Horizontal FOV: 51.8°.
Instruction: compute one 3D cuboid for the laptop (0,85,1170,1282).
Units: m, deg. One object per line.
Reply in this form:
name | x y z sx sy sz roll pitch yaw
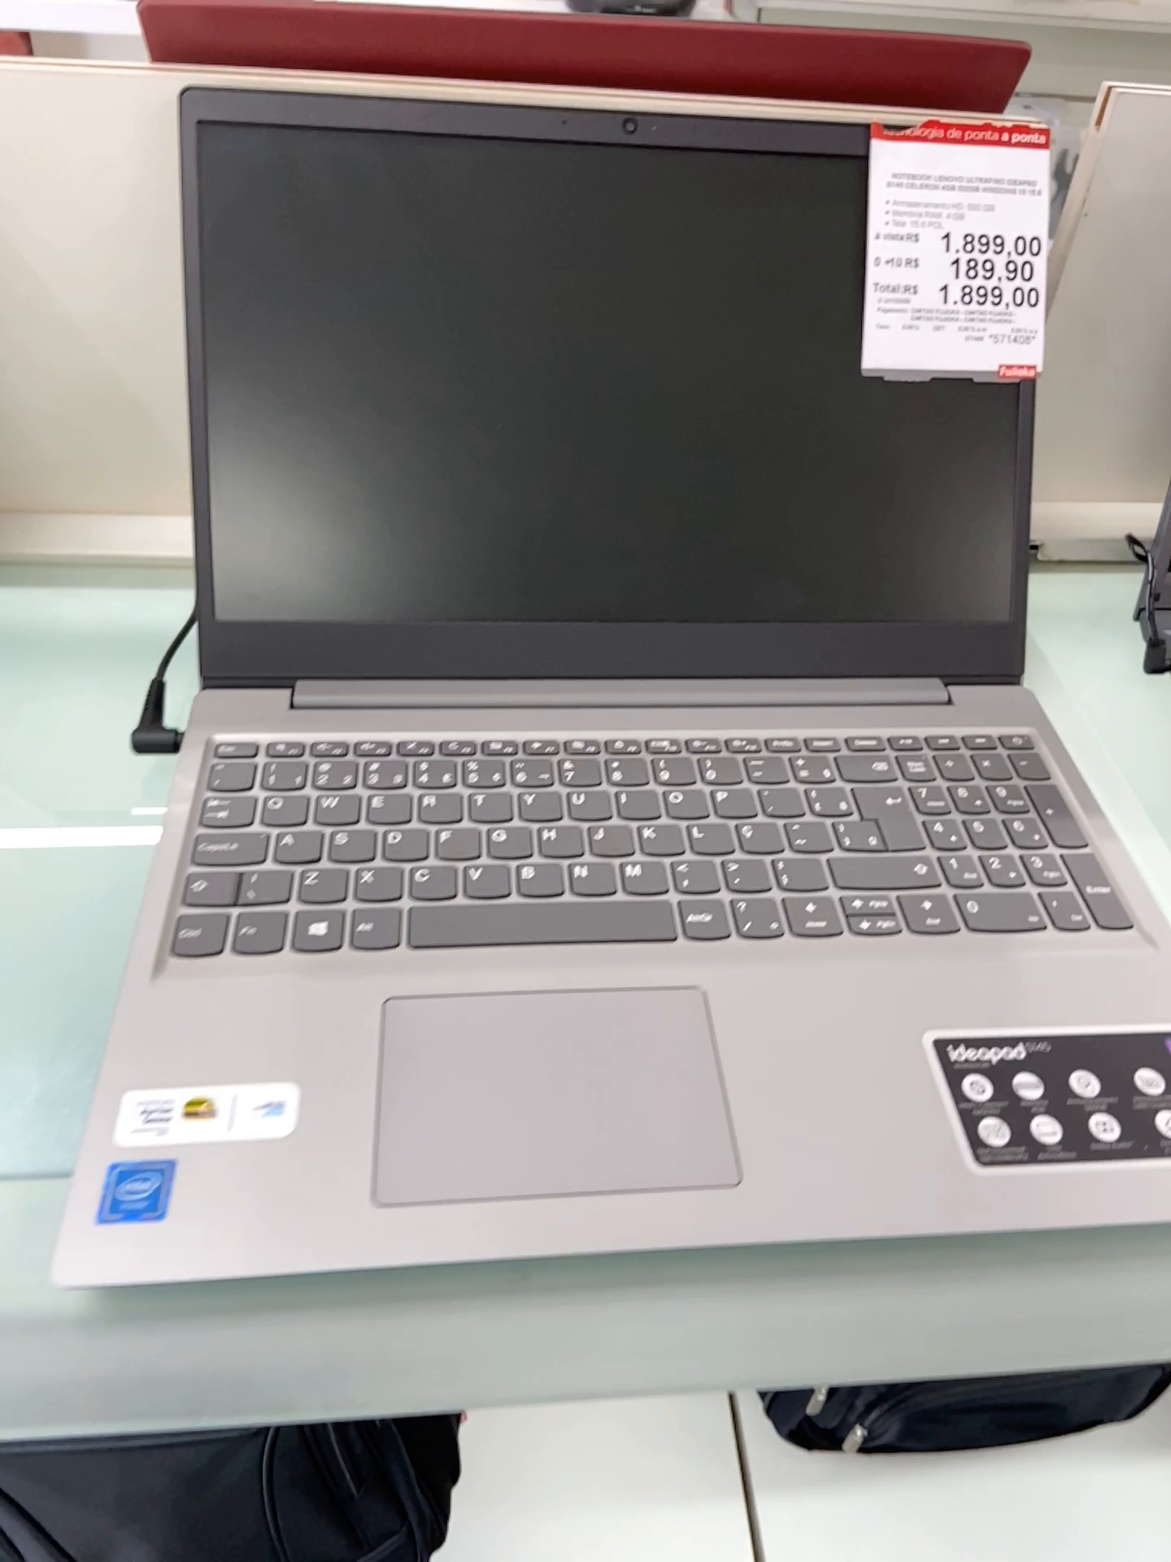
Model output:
laptop | 0.030 -0.077 0.422 0.366 0.189 0.404 -1 43 -6
